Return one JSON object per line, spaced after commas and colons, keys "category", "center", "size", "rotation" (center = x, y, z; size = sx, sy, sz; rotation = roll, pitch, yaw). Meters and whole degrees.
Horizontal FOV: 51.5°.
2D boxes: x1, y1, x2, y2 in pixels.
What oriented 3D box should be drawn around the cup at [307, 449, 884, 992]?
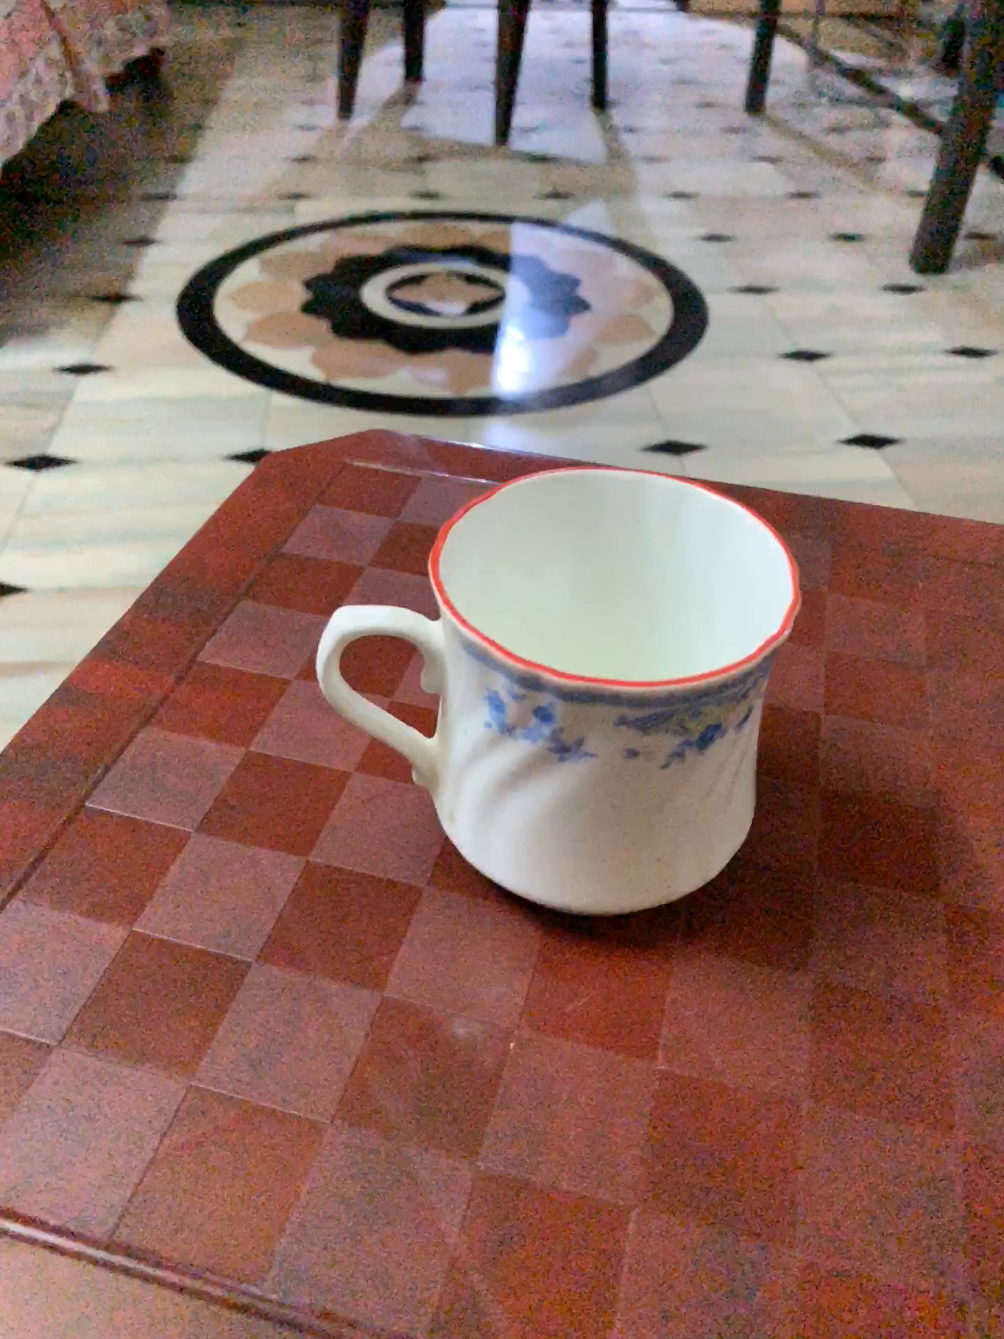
{"category": "cup", "center": [0.011, 0.009, 0.213], "size": [0.090, 0.080, 0.070], "rotation": [-3, 41, -5]}
